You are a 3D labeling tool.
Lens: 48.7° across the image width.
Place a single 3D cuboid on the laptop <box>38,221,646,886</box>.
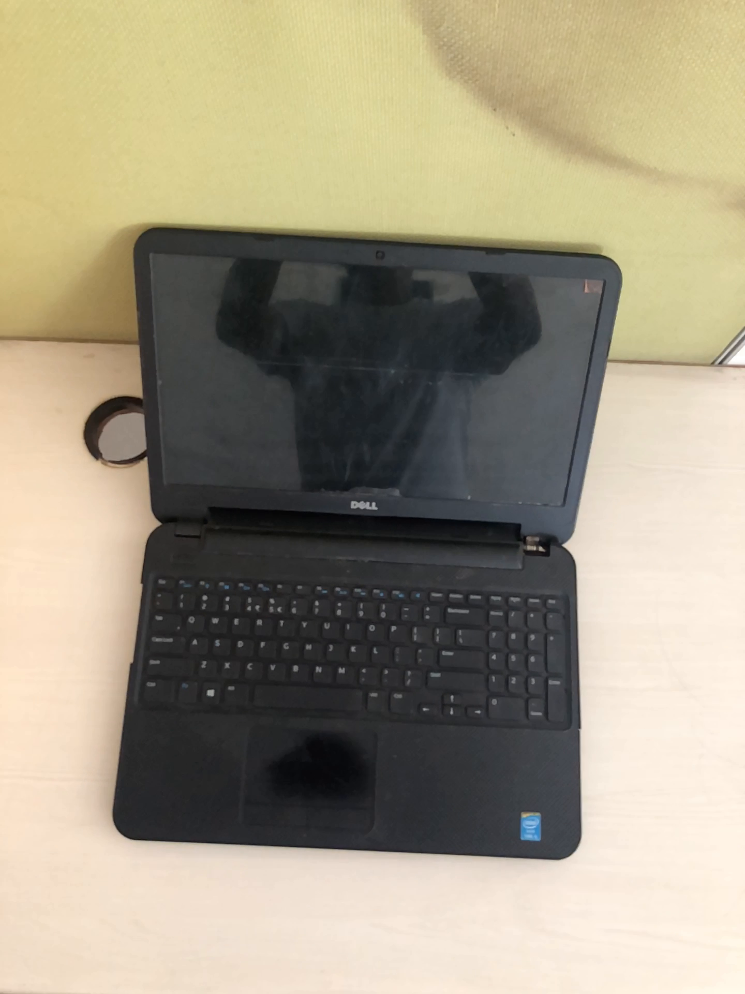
[{"bbox_3d":[-0.008,0.039,0.614,0.355,0.158,0.427,3,74,-1],"label":"laptop"}]
